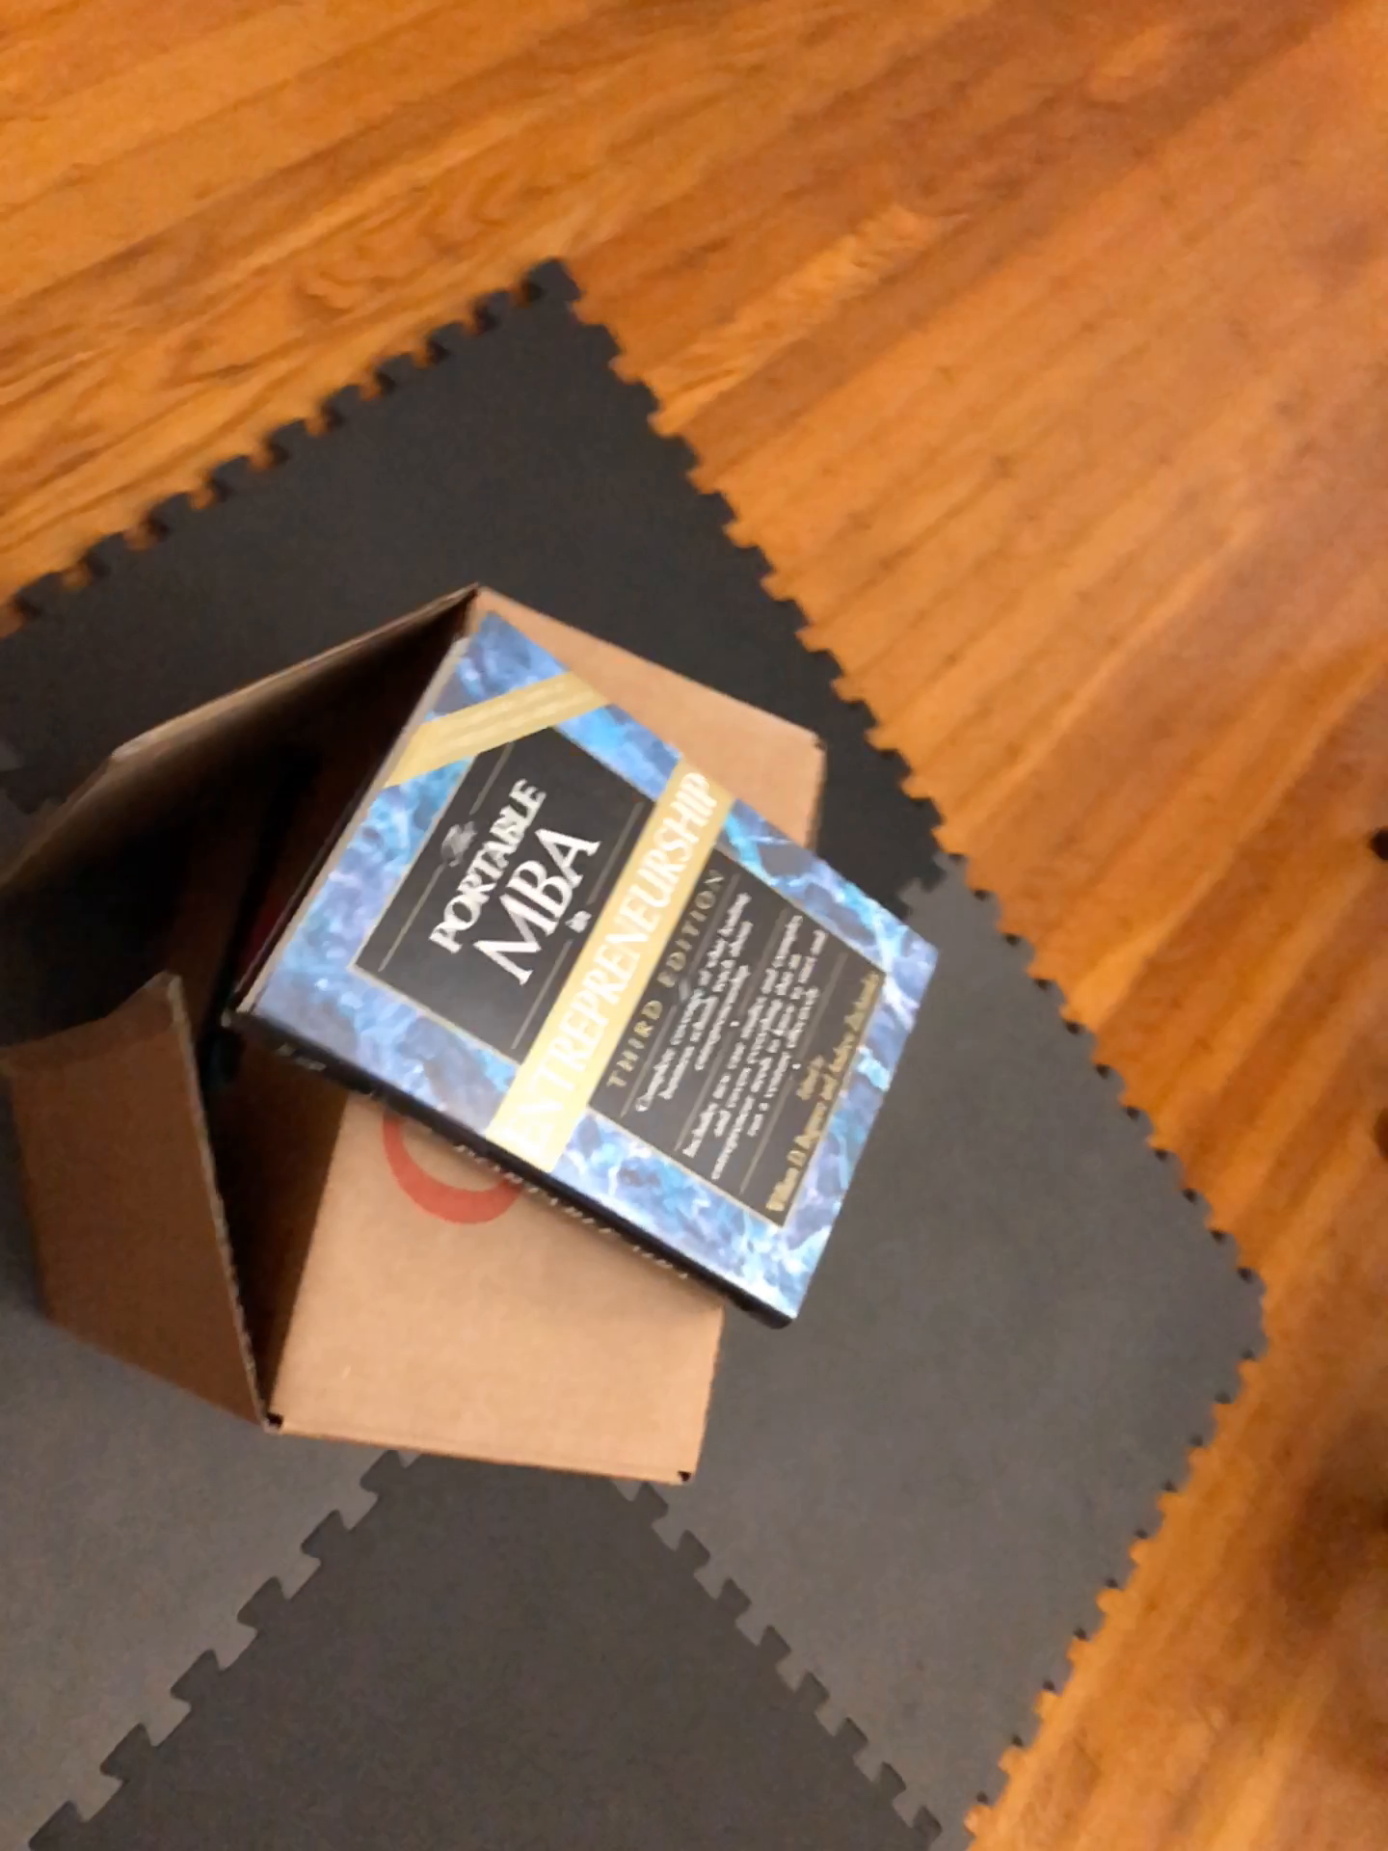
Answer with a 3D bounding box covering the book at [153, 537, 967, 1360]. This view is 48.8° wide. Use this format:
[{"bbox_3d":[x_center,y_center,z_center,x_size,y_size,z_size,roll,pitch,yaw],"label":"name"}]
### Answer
[{"bbox_3d":[-0.035,0.017,0.616,0.270,0.060,0.210,35,66,-25],"label":"book"}]
